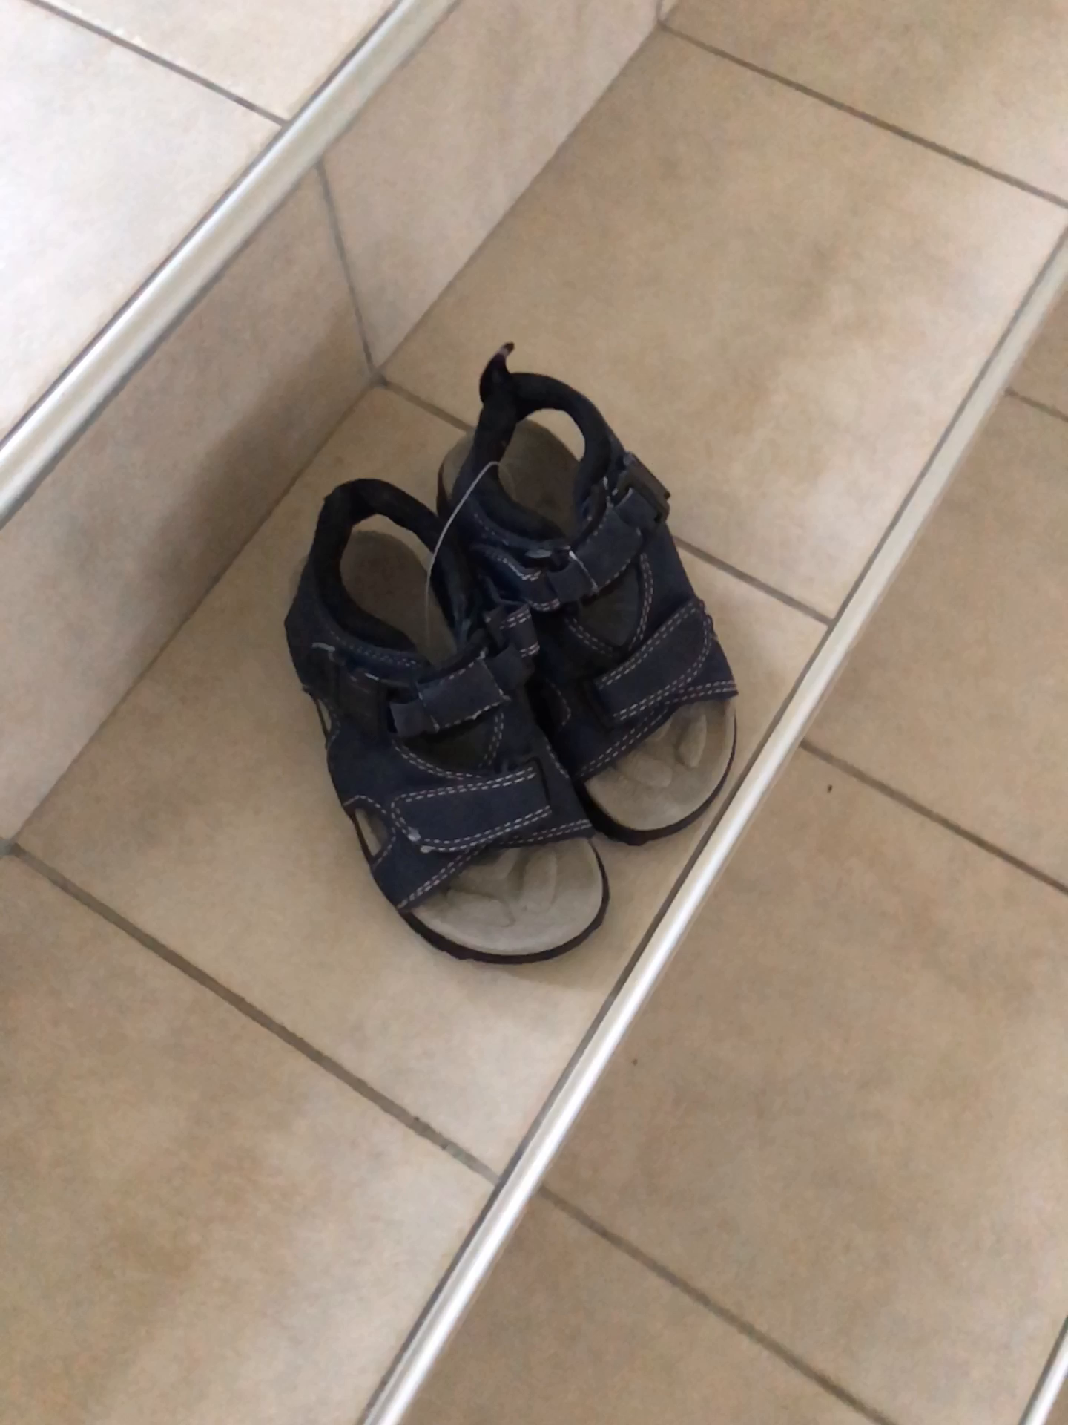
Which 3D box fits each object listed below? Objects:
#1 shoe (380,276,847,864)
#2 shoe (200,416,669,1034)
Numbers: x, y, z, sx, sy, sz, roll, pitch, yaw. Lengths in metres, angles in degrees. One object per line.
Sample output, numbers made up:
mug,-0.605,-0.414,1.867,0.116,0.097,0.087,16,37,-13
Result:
shoe,0.028,-0.065,0.532,0.100,0.090,0.230,-25,71,-8
shoe,-0.045,0.005,0.508,0.100,0.090,0.230,-25,71,-8
